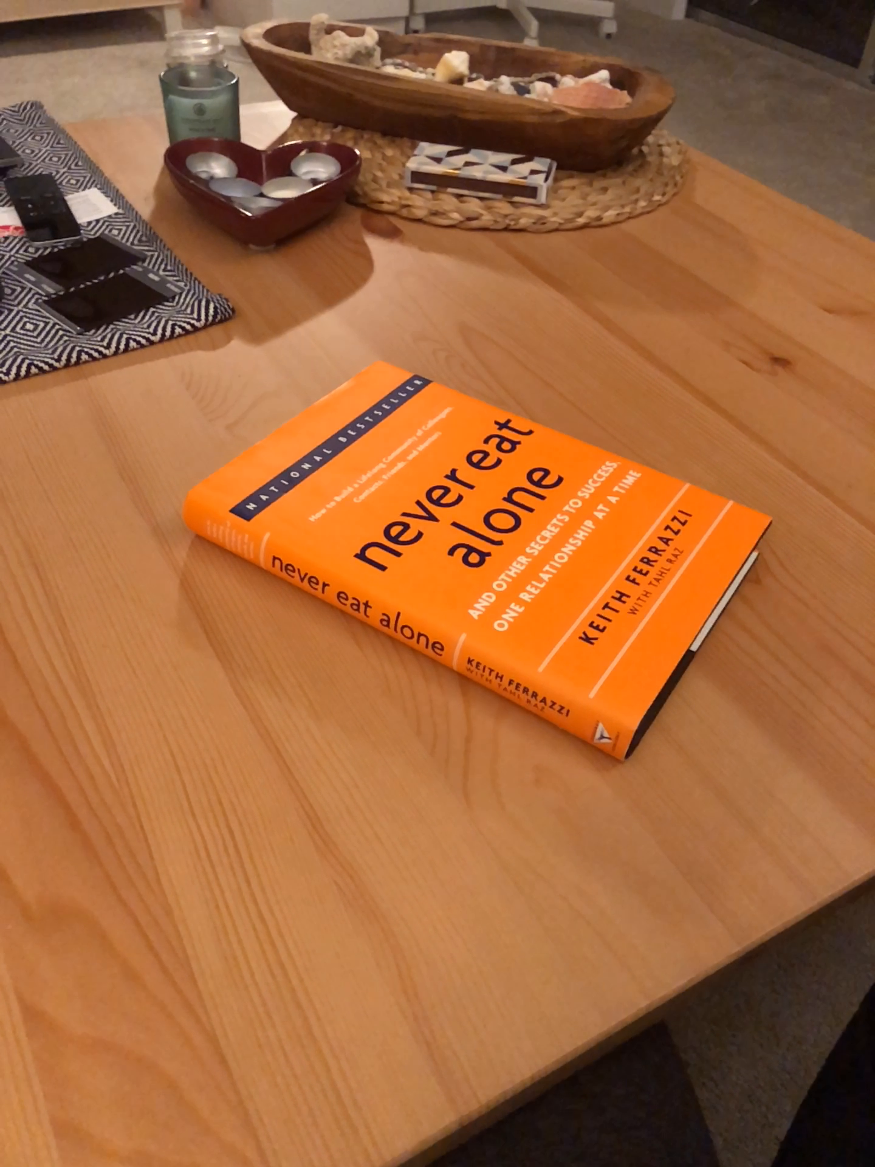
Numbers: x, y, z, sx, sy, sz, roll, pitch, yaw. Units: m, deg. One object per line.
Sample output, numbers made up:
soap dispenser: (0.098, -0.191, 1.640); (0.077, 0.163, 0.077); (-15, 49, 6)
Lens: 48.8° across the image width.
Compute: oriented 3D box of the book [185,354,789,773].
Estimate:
book: (0.026, -0.029, 0.473); (0.240, 0.025, 0.167); (26, 47, 21)
